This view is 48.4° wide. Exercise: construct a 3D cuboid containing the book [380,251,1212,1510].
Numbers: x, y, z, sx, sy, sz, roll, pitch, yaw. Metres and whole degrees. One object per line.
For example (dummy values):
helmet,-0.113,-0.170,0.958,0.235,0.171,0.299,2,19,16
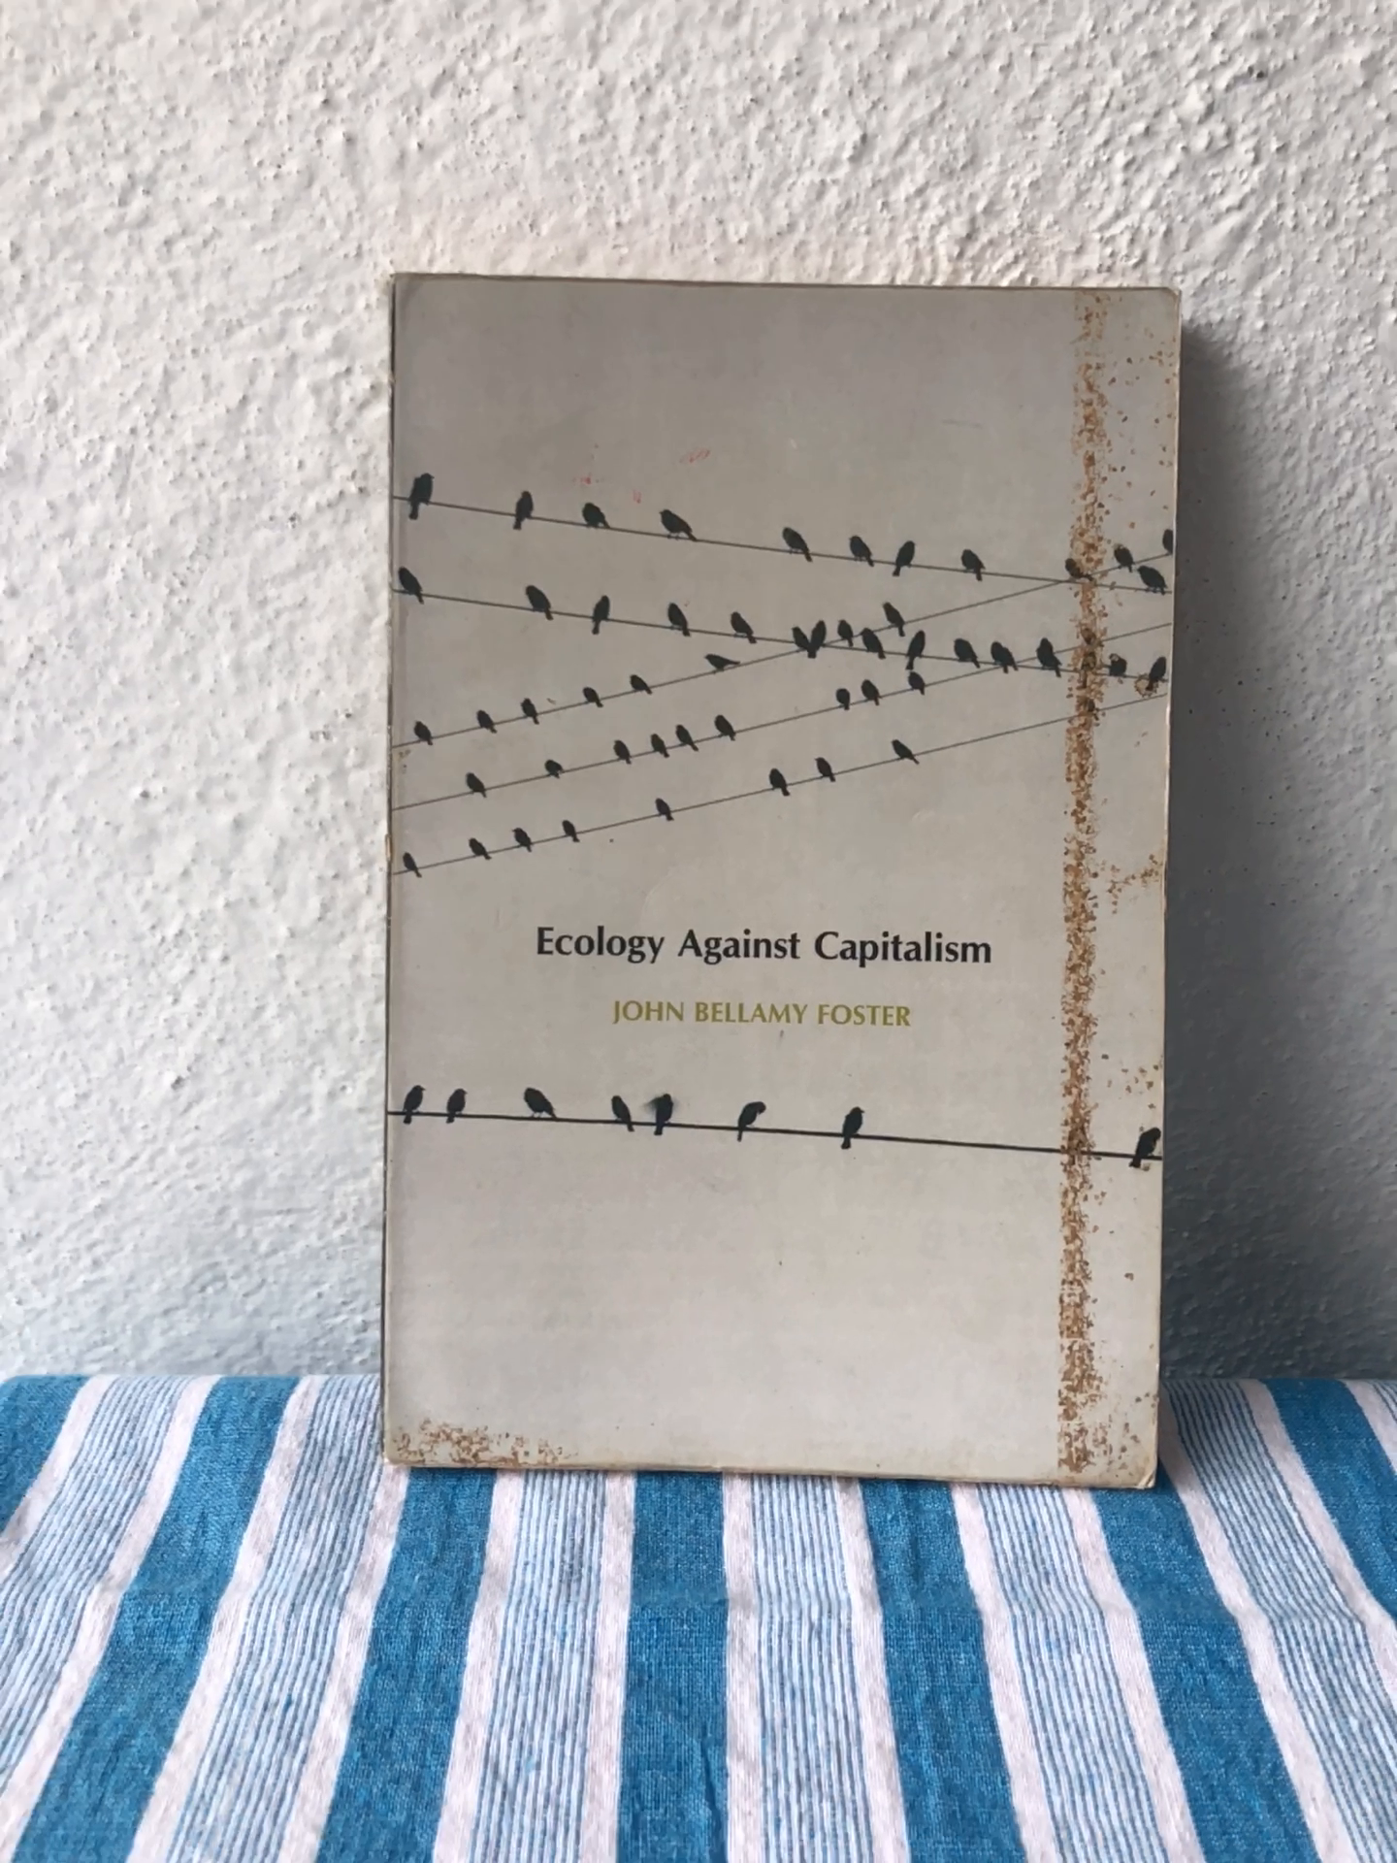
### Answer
book,0.017,-0.009,0.279,0.140,0.210,0.030,0,-1,4
